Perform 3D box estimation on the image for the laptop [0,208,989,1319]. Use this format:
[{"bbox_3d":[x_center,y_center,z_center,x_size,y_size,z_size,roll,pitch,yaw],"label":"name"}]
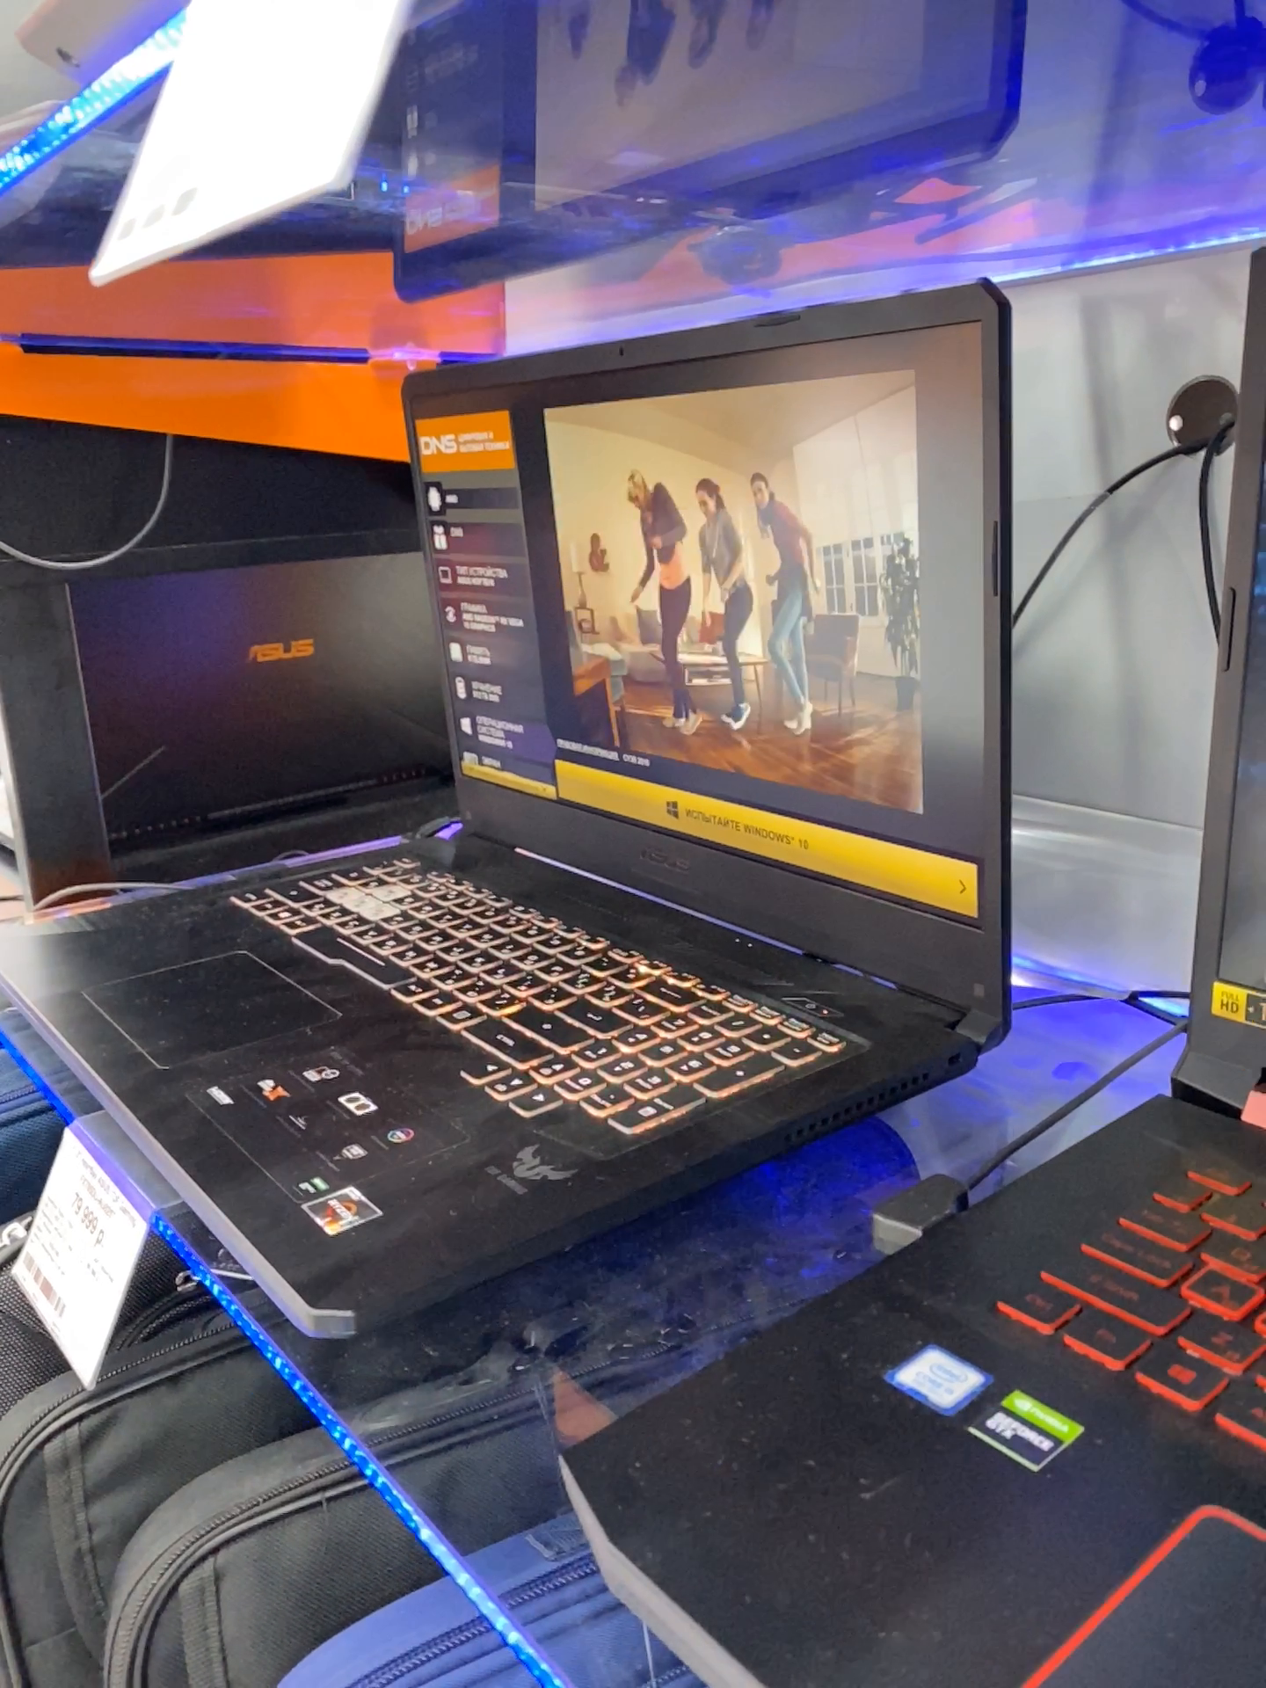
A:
[{"bbox_3d":[-0.102,-0.068,0.538,0.269,0.265,0.398,-14,19,-36],"label":"laptop"}]
